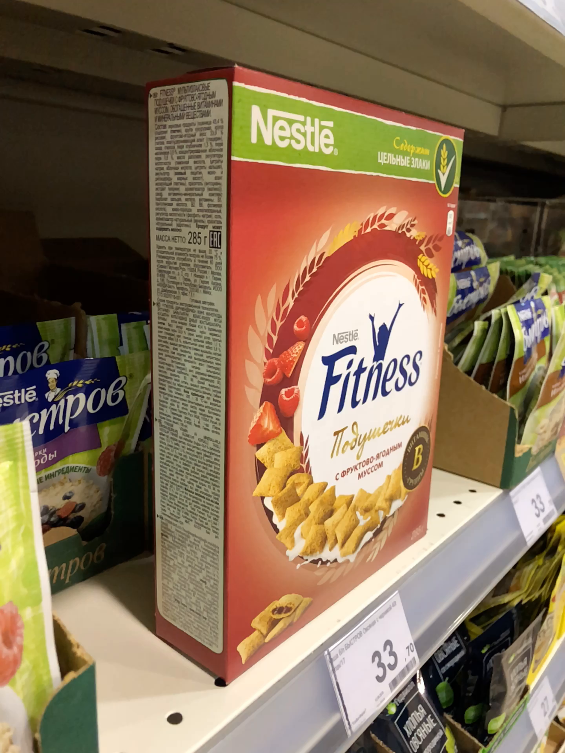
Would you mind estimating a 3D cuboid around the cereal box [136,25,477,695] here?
[{"bbox_3d":[0.020,-0.011,0.301,0.050,0.239,0.181,13,18,37],"label":"cereal box"}]
